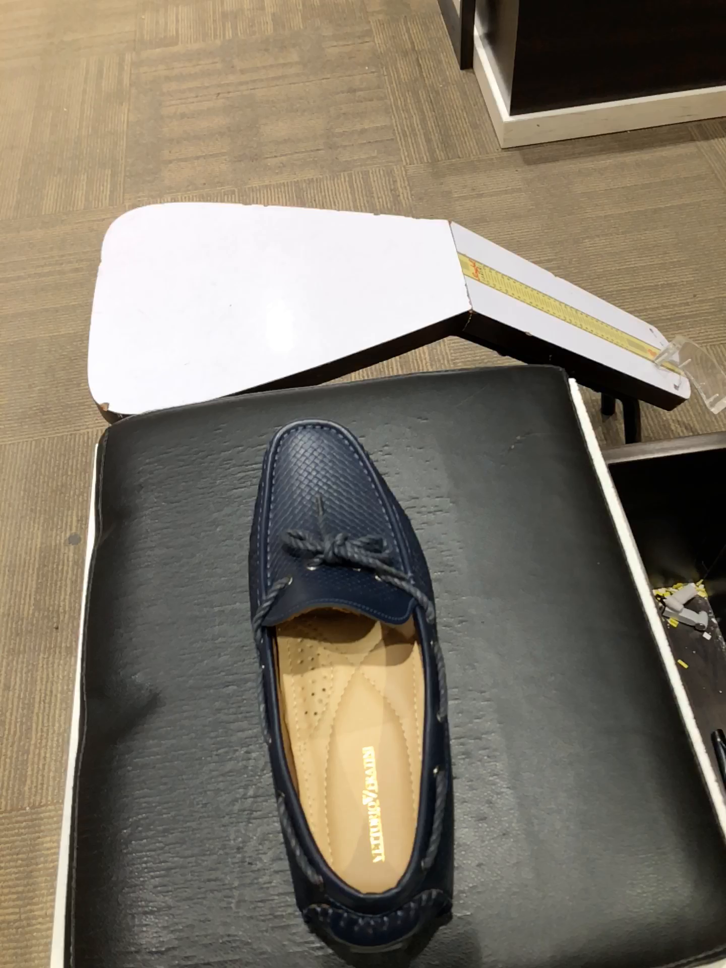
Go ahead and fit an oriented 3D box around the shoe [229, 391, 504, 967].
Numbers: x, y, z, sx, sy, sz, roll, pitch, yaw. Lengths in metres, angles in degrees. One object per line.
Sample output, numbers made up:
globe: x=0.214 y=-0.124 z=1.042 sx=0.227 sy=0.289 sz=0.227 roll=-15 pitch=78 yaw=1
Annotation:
shoe: x=-0.008 y=0.088 z=0.410 sx=0.100 sy=0.080 sz=0.271 roll=-8 pitch=57 yaw=0
